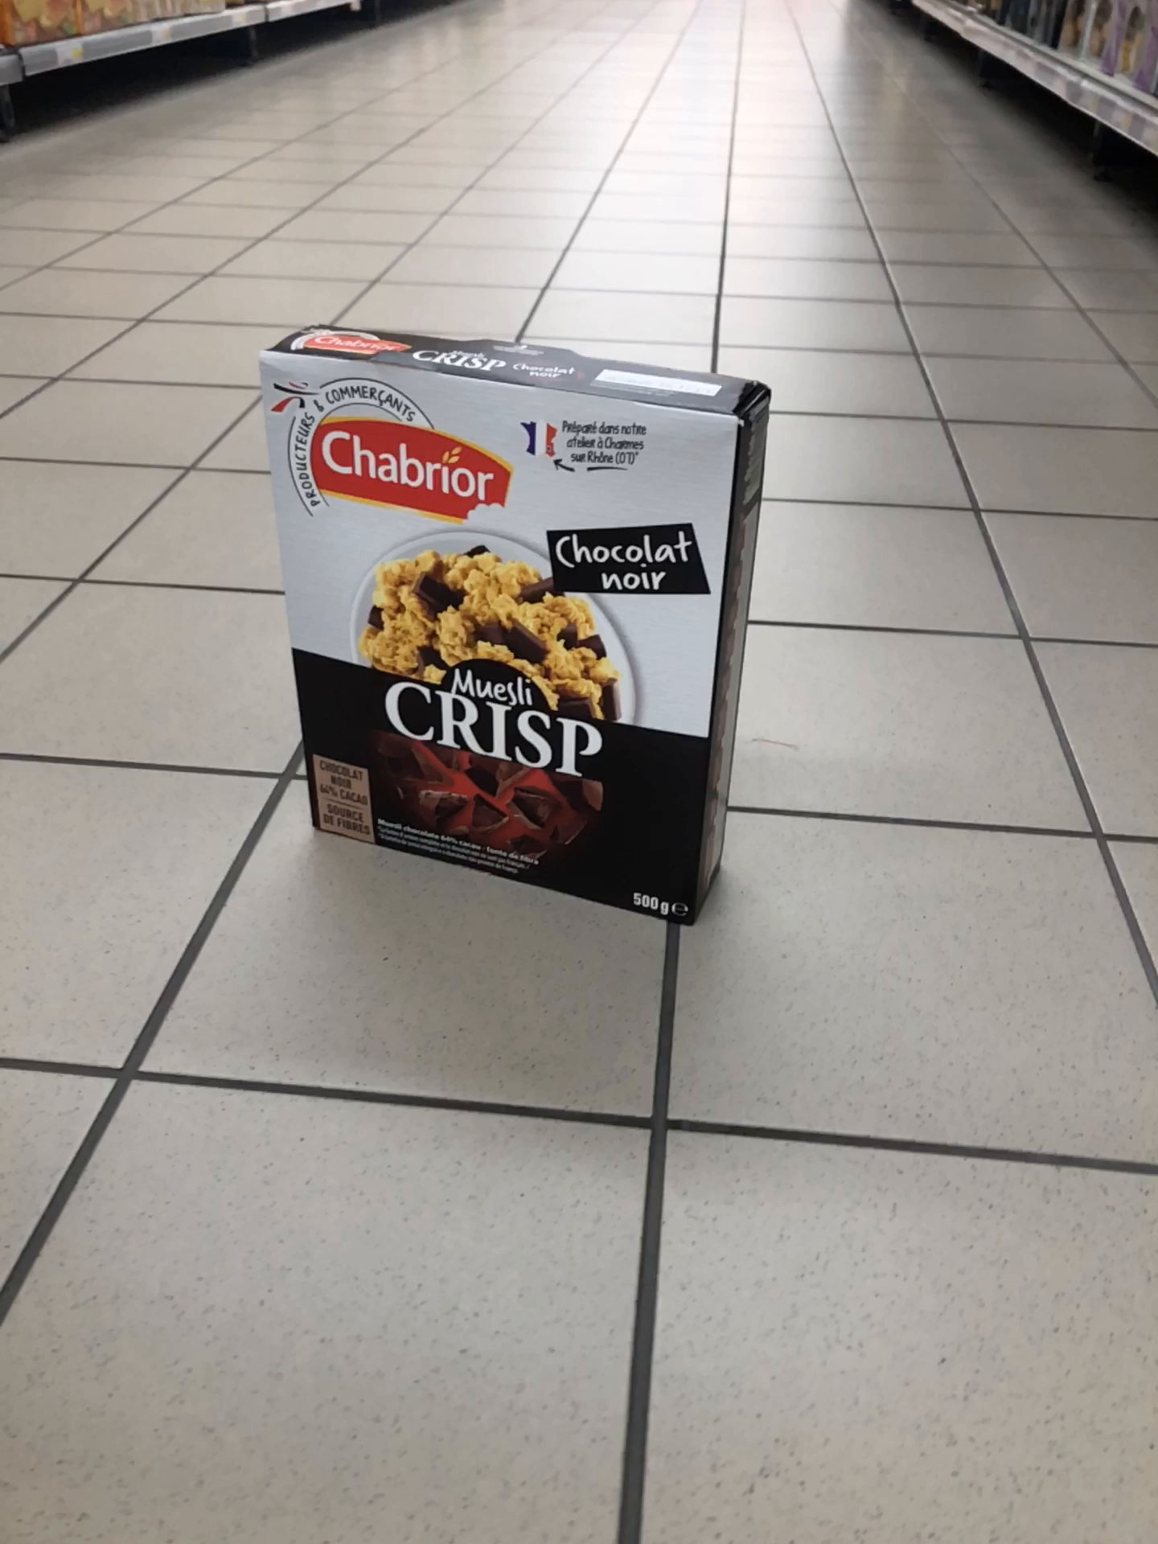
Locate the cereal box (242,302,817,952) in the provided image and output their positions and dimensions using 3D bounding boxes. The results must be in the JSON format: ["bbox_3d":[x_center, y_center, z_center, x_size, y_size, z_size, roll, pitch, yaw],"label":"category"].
[{"bbox_3d":[-0.020,-0.057,0.523,0.200,0.229,0.060,13,35,17],"label":"cereal box"}]
